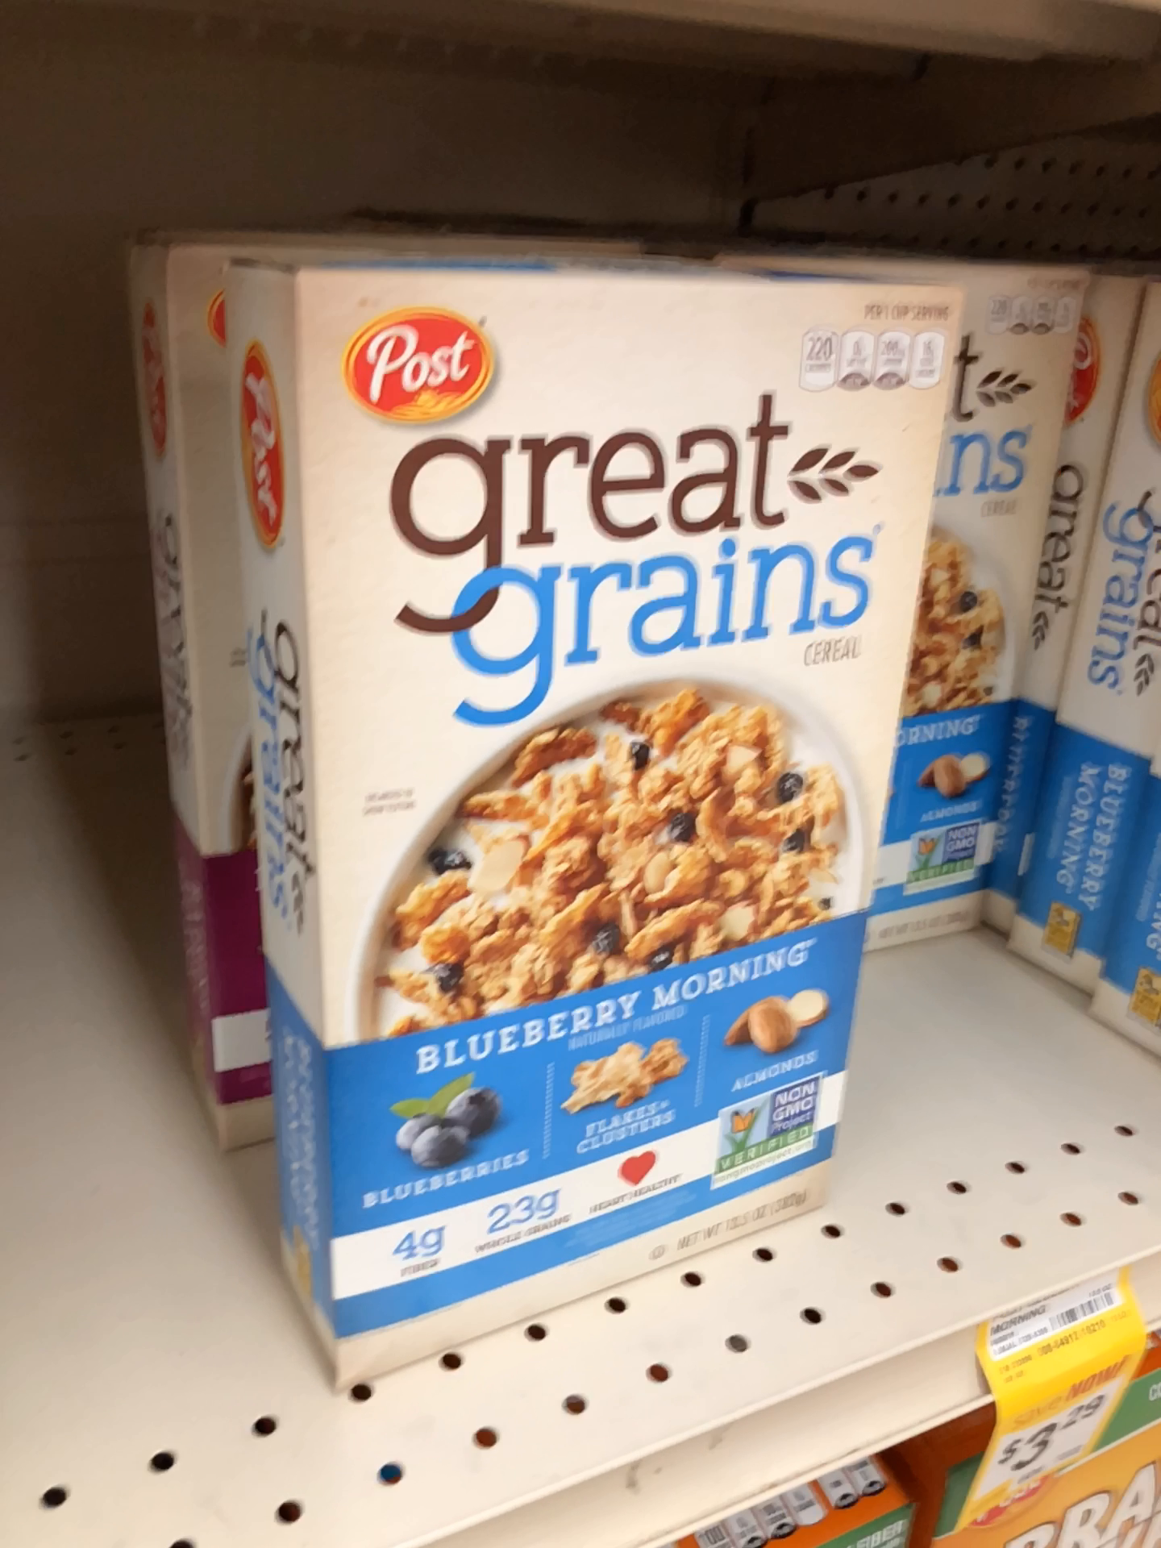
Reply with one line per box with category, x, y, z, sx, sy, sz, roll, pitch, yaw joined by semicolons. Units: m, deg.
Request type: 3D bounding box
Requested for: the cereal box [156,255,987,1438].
cereal box;-0.002;0.016;0.343;0.180;0.279;0.060;-9;25;-27
